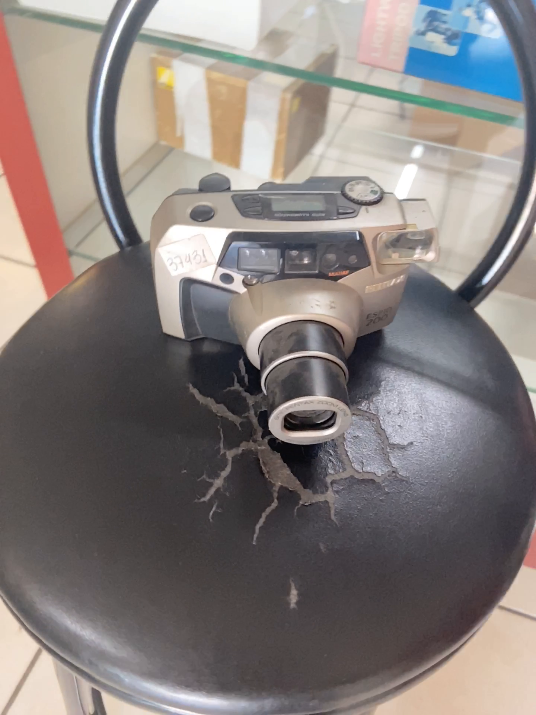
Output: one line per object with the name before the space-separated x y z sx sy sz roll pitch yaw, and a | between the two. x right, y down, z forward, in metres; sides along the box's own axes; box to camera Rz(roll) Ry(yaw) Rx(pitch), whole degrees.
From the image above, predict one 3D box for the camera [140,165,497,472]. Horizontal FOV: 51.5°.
camera | 0.011 -0.024 0.268 0.130 0.080 0.121 -3 48 -7
